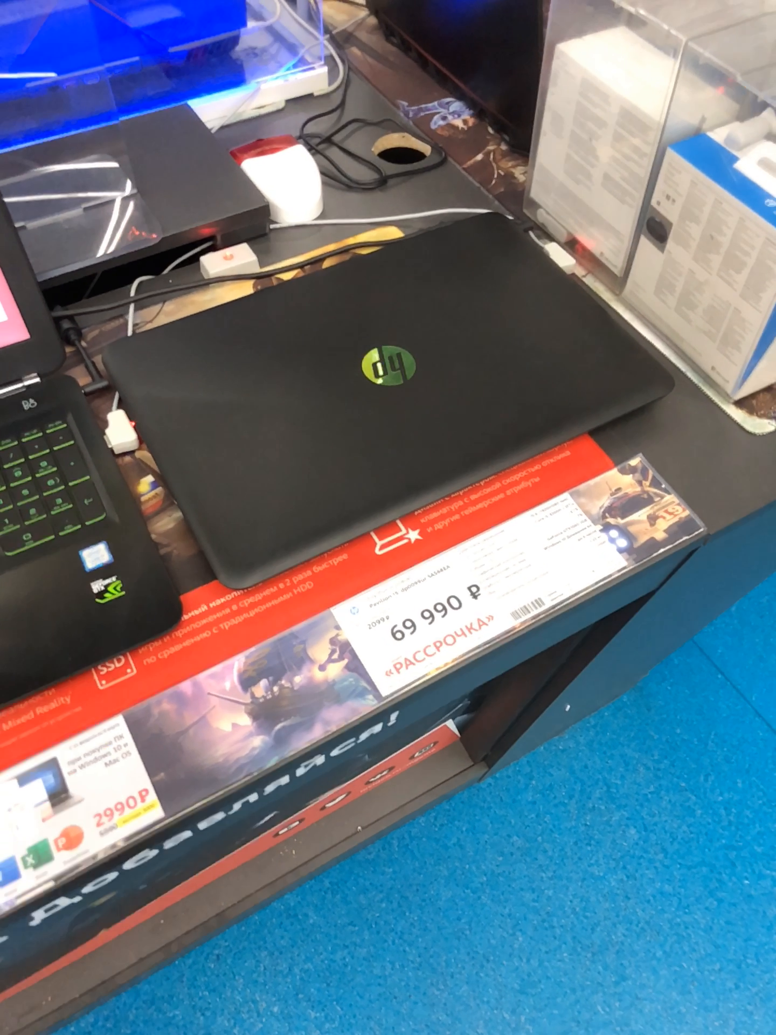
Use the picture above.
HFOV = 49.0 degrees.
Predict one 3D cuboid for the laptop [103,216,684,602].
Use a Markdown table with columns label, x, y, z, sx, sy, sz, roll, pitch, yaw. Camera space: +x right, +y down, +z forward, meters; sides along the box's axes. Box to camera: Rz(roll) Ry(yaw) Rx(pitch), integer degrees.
| label | x | y | z | sx | sy | sz | roll | pitch | yaw |
| --- | --- | --- | --- | --- | --- | --- | --- | --- | --- |
| laptop | 0.003 | -0.108 | 0.650 | 0.372 | 0.006 | 0.240 | -24 | 59 | -17 |
